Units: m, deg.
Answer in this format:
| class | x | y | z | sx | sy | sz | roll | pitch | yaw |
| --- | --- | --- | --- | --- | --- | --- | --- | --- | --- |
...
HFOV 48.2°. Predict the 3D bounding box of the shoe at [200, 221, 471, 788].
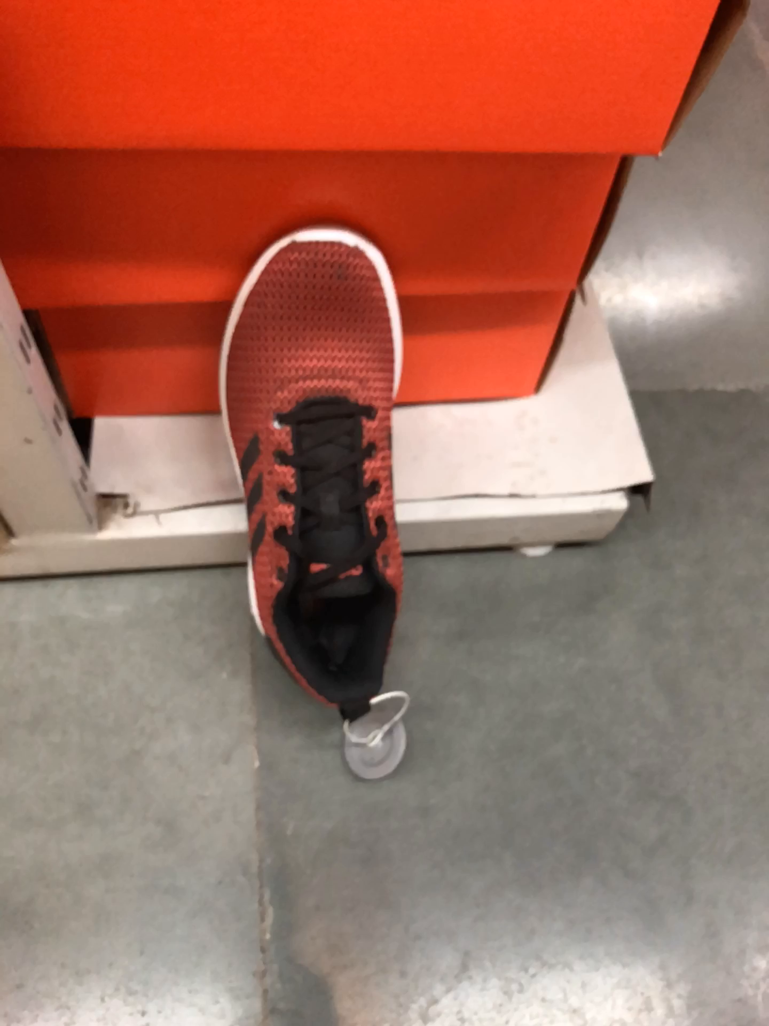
| class | x | y | z | sx | sy | sz | roll | pitch | yaw |
| --- | --- | --- | --- | --- | --- | --- | --- | --- | --- |
| shoe | -0.034 | -0.006 | 0.466 | 0.110 | 0.271 | 0.133 | -2 | 27 | -9 |
